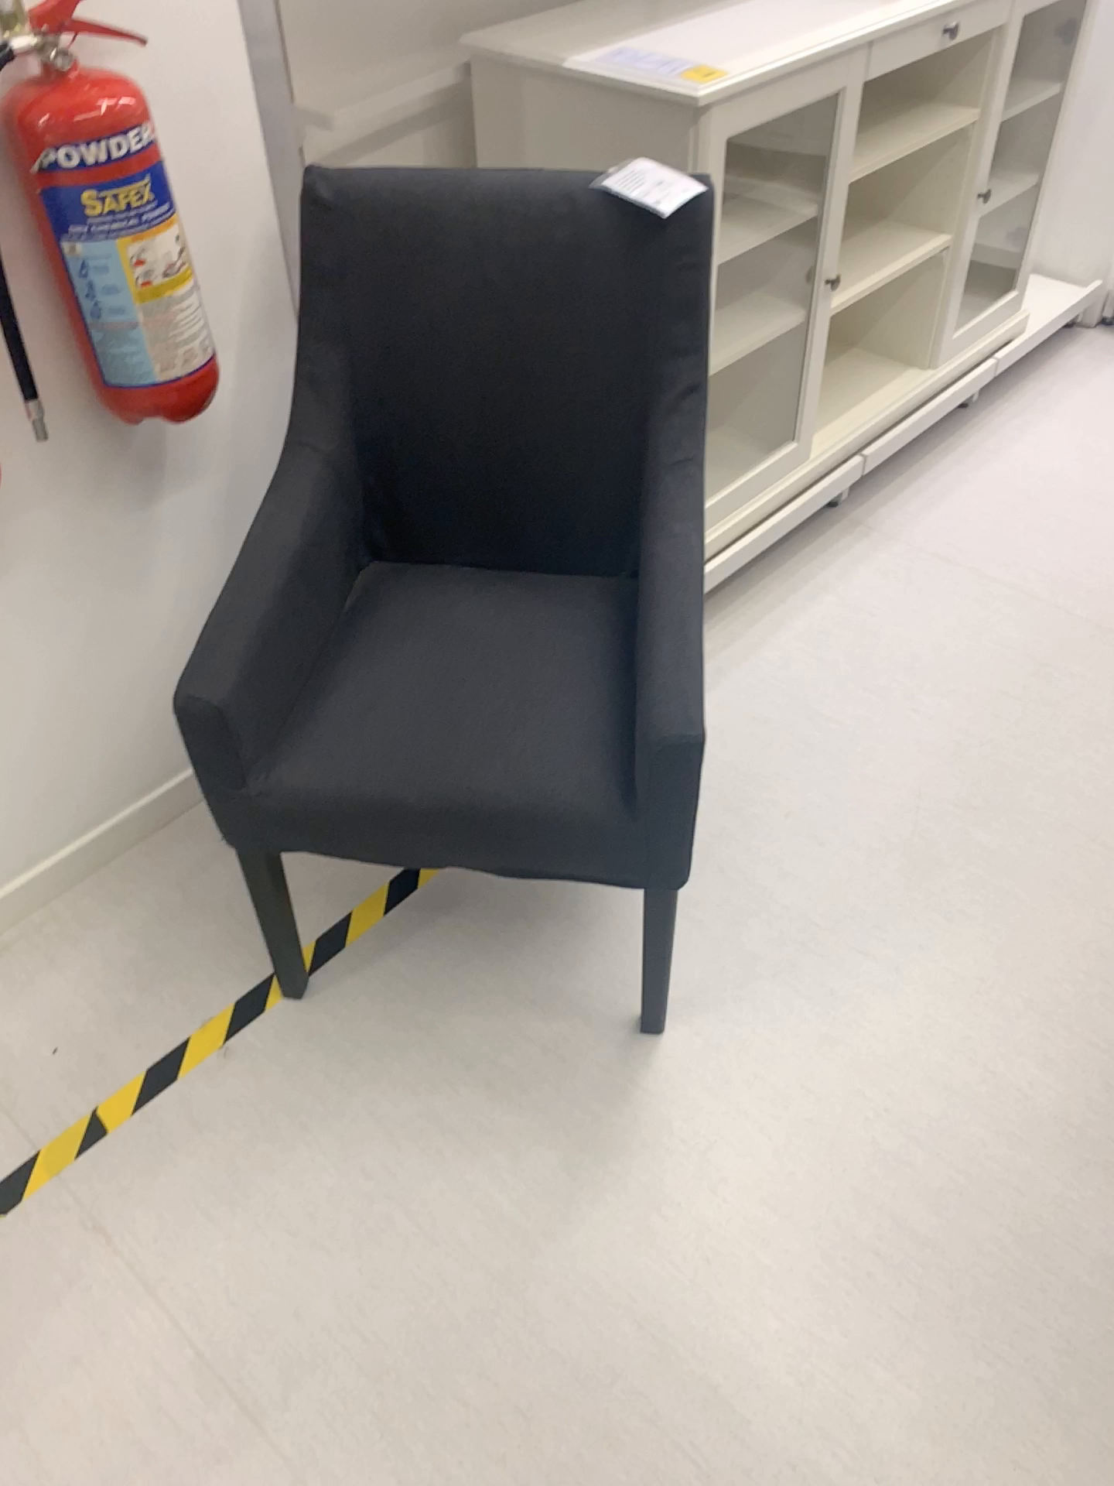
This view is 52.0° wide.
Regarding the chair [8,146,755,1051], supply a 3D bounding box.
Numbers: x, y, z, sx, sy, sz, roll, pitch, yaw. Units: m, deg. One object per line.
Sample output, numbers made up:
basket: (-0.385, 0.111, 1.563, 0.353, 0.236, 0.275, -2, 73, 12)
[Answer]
chair: (-0.105, -0.163, 1.467, 0.610, 0.916, 0.632, 5, 44, 7)
